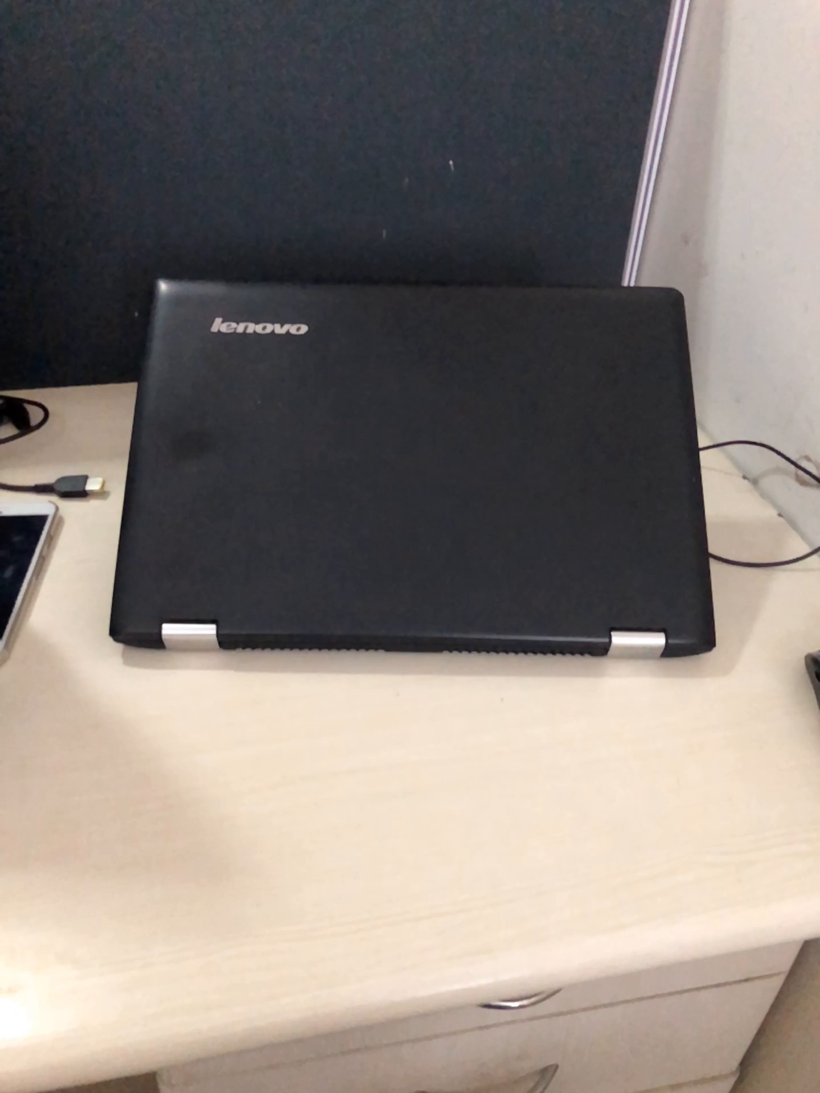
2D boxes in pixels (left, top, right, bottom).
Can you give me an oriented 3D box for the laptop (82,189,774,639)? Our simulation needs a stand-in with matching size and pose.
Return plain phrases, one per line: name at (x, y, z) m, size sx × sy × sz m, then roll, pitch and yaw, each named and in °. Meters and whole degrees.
laptop at (0.006, -0.085, 0.536) m, size 0.323 × 0.142 × 0.206 m, roll 2°, pitch 43°, yaw -1°
